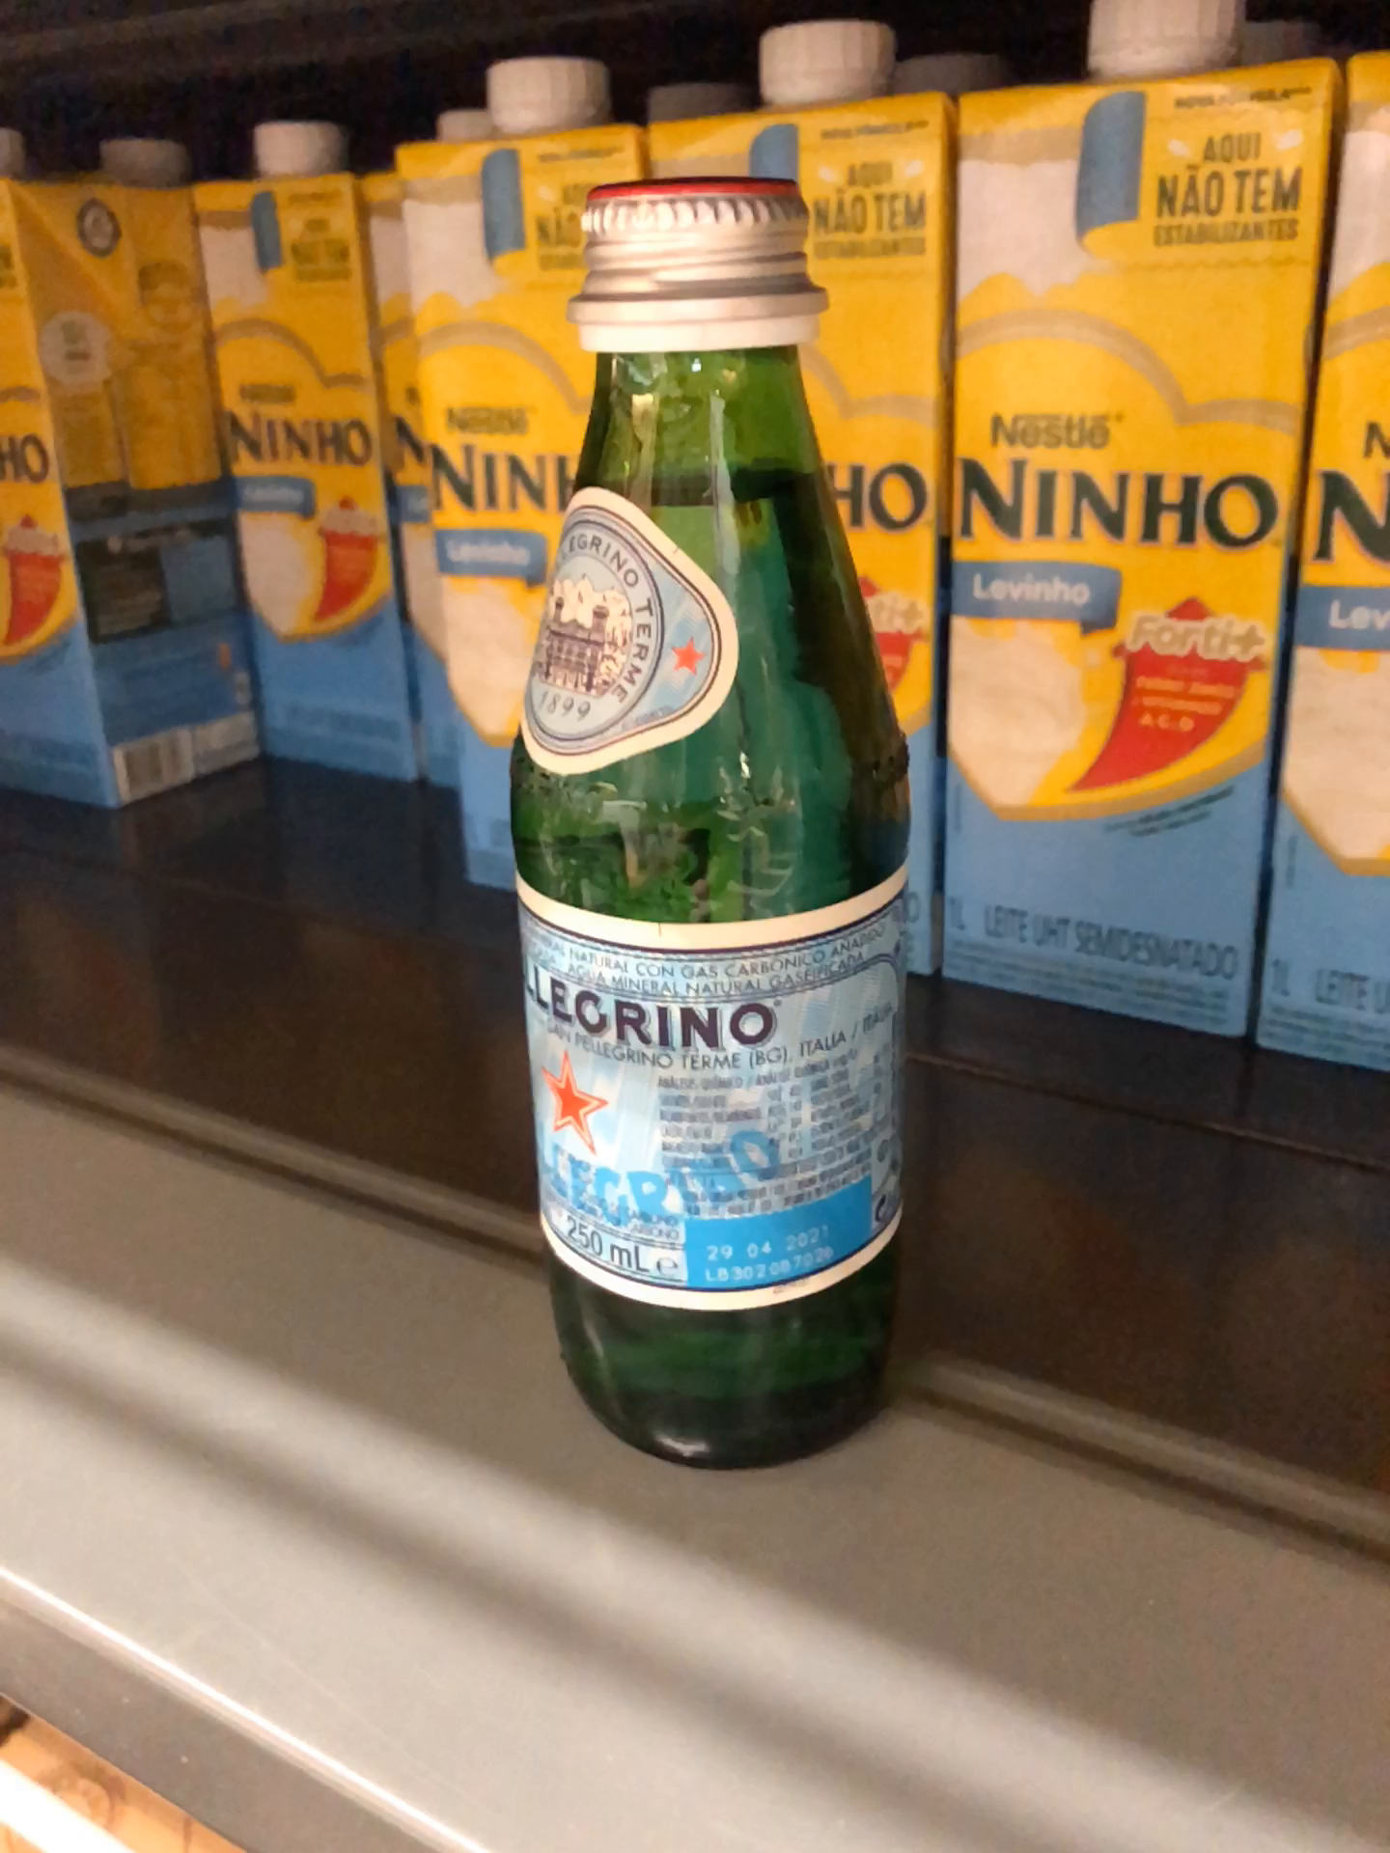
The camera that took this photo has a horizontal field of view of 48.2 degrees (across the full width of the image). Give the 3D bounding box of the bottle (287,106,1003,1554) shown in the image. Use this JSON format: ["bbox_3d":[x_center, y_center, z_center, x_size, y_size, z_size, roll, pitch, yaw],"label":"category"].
[{"bbox_3d":[-0.001,-0.012,0.219,0.060,0.179,0.060,-3,24,1],"label":"bottle"}]
